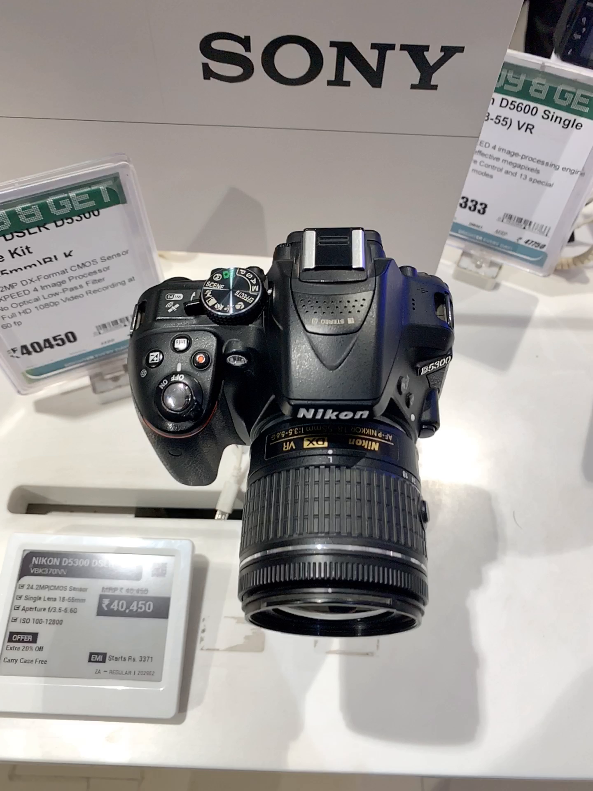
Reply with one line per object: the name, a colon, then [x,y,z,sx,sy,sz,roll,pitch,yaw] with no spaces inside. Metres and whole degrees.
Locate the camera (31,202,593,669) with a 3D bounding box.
camera: [0.006,0.009,0.197,0.130,0.070,0.130,-1,57,-2]
